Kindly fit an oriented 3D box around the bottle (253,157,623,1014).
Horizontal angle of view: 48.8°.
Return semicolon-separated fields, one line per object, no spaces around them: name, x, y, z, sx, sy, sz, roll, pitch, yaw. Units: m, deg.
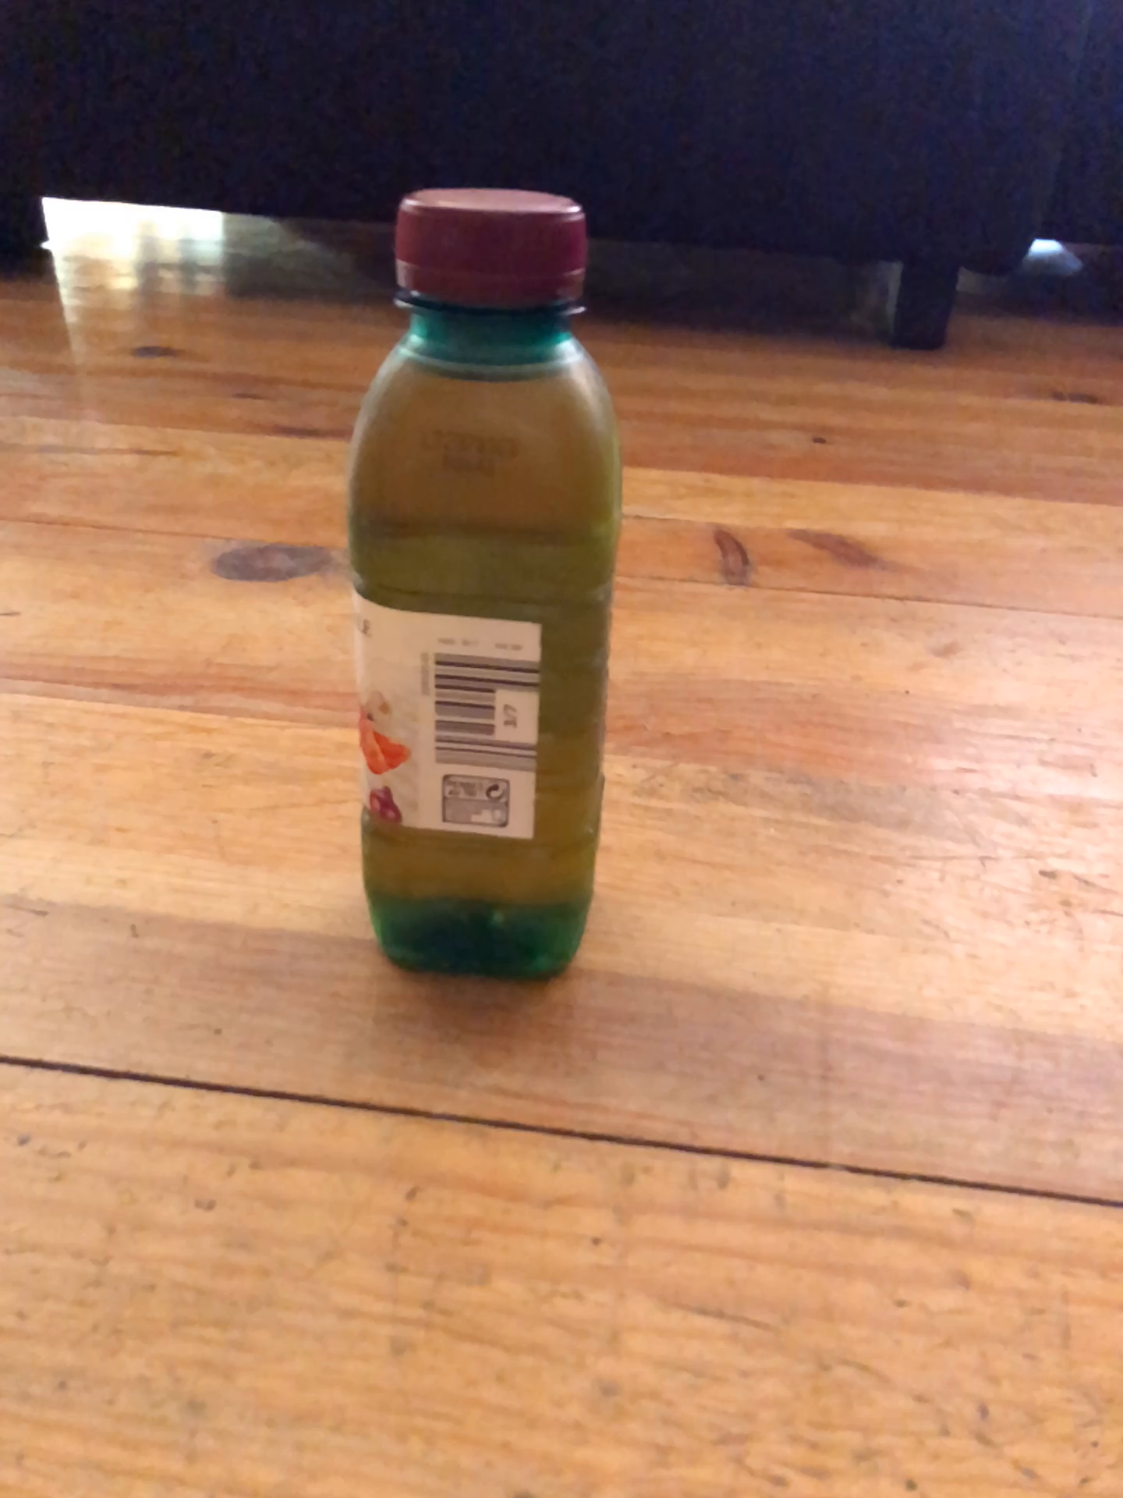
bottle;-0.020;-0.029;0.240;0.050;0.149;0.060;5;29;4
